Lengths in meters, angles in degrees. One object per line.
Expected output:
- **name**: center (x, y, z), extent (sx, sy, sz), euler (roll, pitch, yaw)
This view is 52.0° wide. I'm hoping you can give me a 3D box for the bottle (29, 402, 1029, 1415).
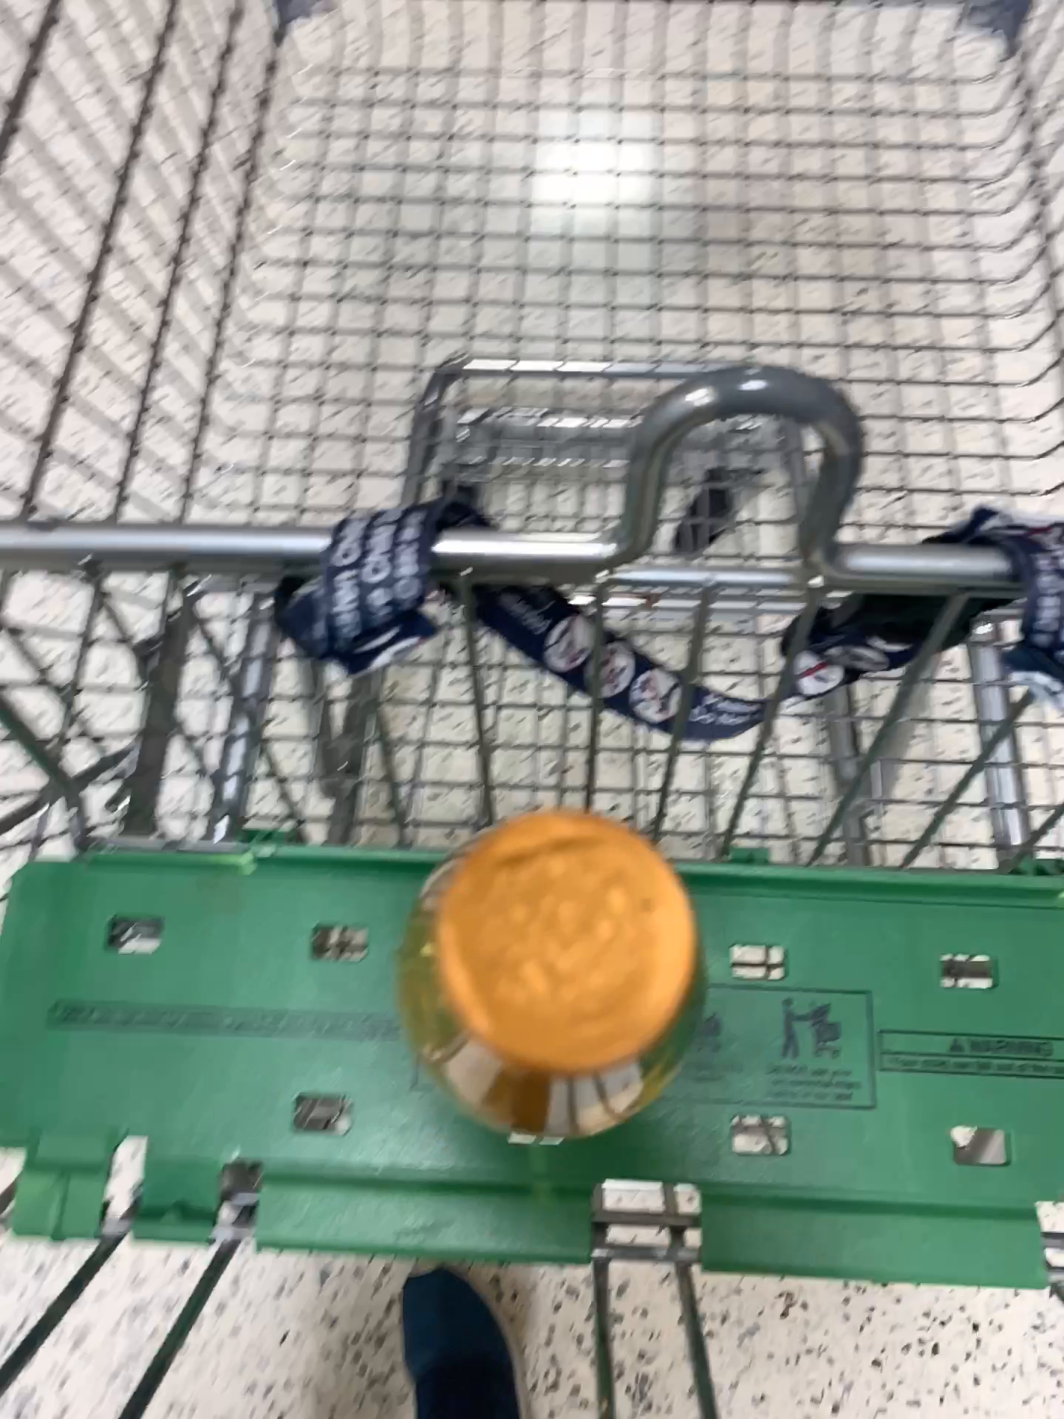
- **bottle**: center (0.000, 0.057, 0.275), extent (0.086, 0.299, 0.084), euler (0, 74, 0)
